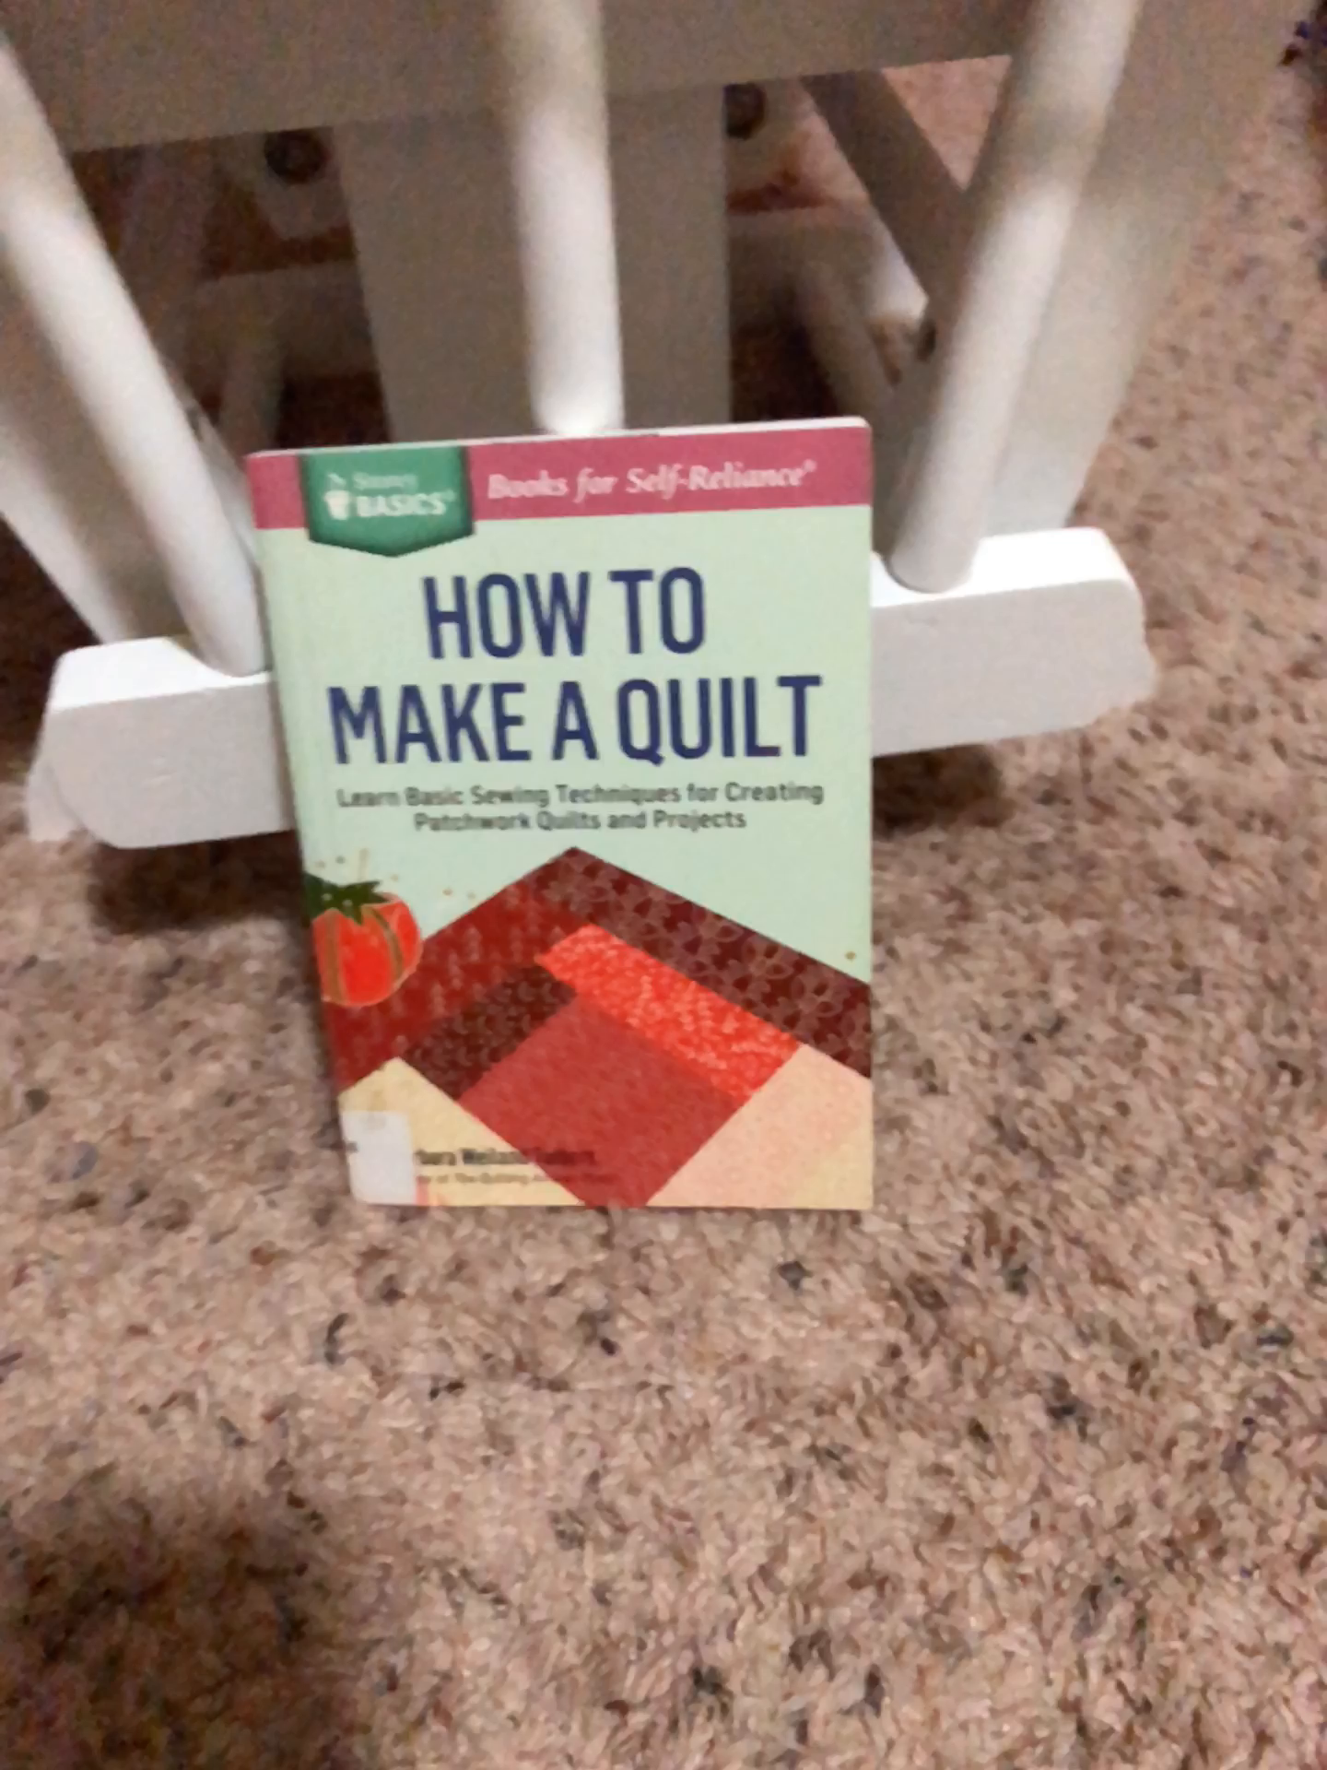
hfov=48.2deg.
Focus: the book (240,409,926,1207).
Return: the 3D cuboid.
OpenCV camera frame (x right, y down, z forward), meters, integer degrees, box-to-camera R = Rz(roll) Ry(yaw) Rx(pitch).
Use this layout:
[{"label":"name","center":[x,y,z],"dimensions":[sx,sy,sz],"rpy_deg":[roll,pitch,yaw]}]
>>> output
[{"label":"book","center":[-0.013,-0.011,0.316],"dimensions":[0.130,0.168,0.020],"rpy_deg":[-1,19,5]}]
